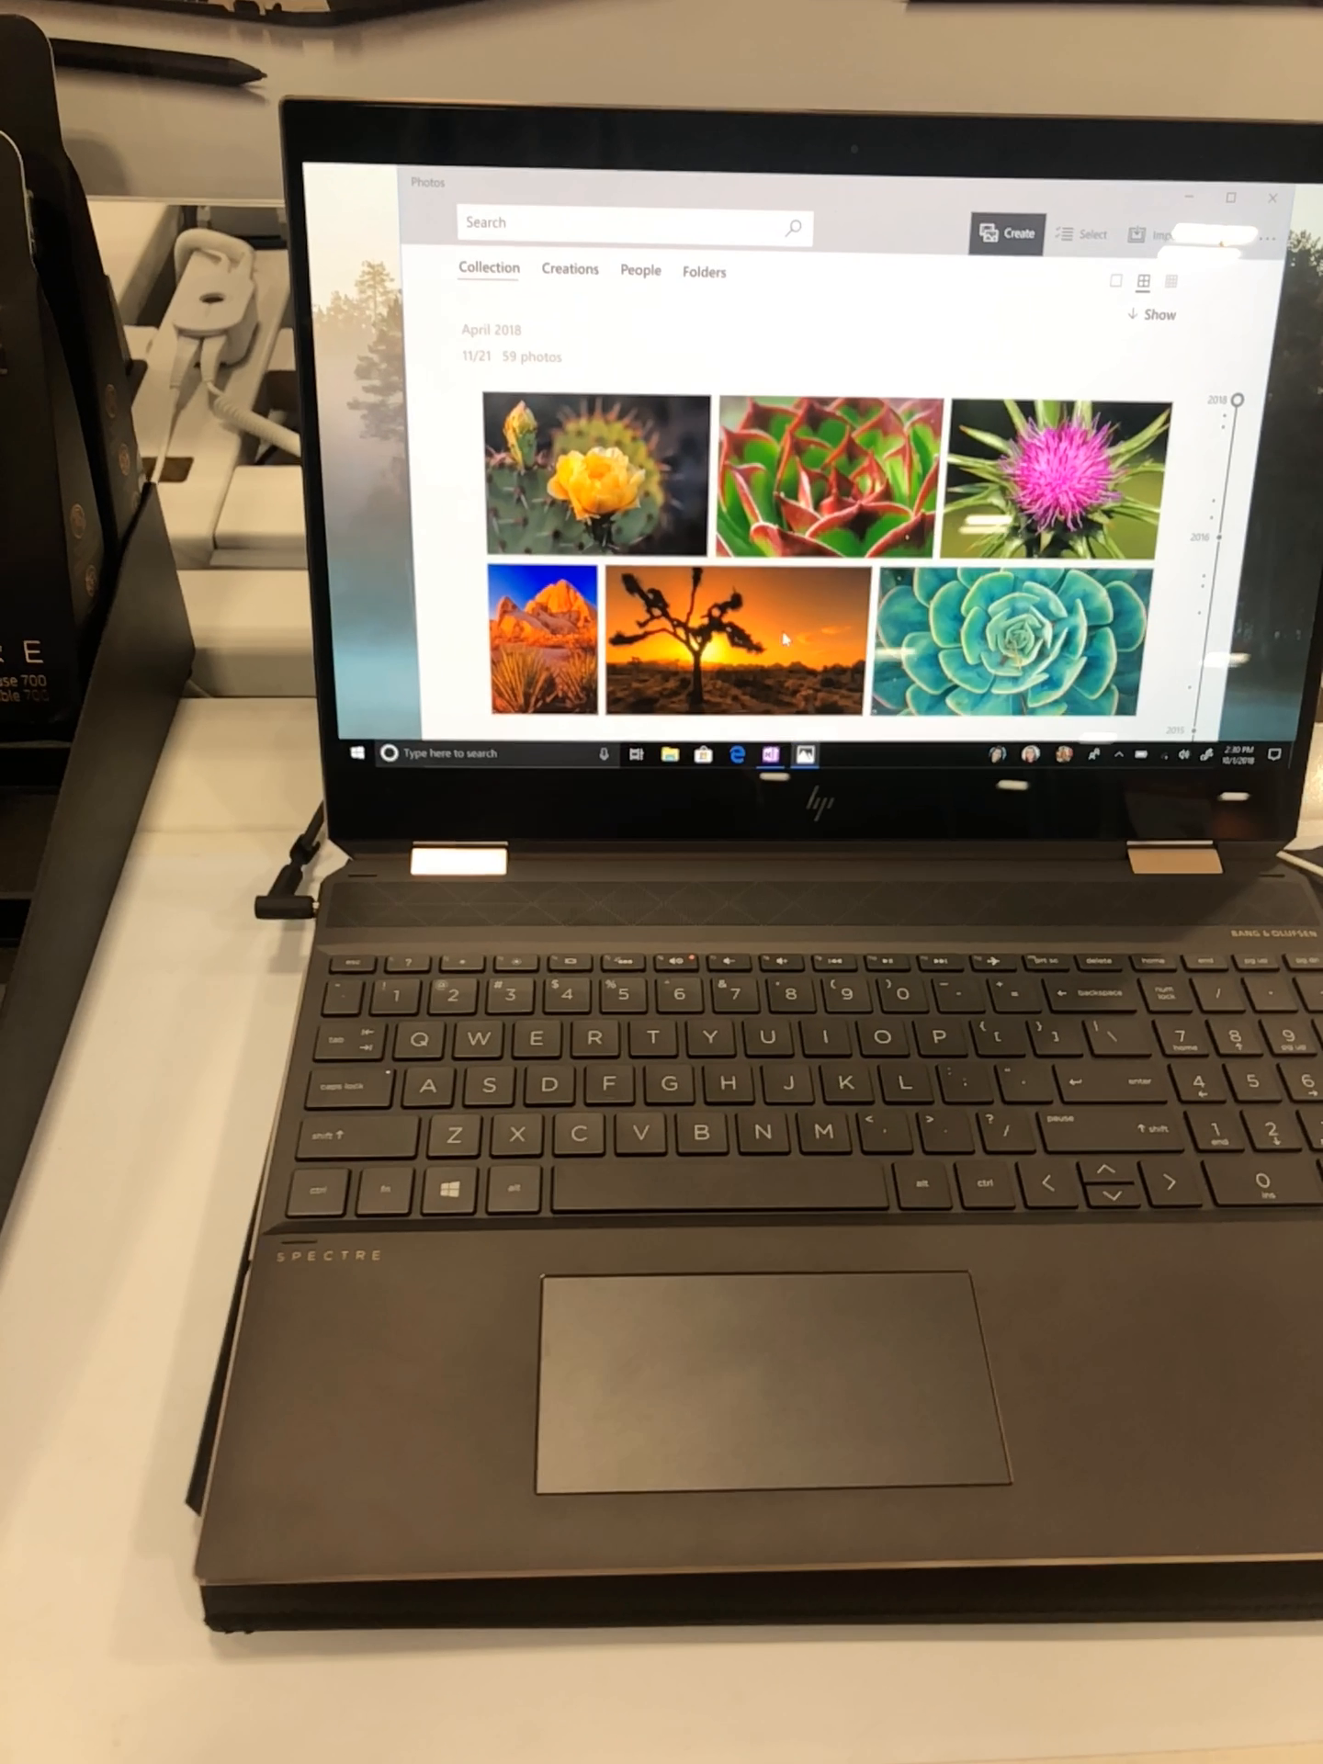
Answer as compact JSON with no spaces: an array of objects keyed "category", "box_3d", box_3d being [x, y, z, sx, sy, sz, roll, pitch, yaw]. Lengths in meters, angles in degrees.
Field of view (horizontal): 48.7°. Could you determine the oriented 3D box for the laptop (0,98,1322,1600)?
[{"category":"laptop","box_3d":[0.061,-0.035,0.405,0.348,0.209,0.360,0,46,-3]}]
